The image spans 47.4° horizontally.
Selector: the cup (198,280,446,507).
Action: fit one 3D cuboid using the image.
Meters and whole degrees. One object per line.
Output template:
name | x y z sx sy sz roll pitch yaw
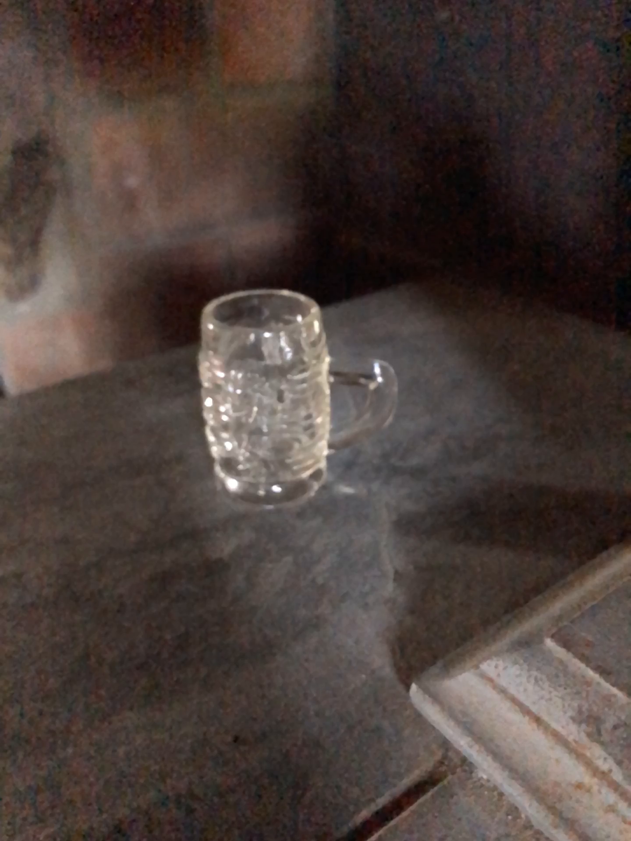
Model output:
cup | 0.003 -0.008 0.203 0.060 0.050 0.040 -1 29 2
